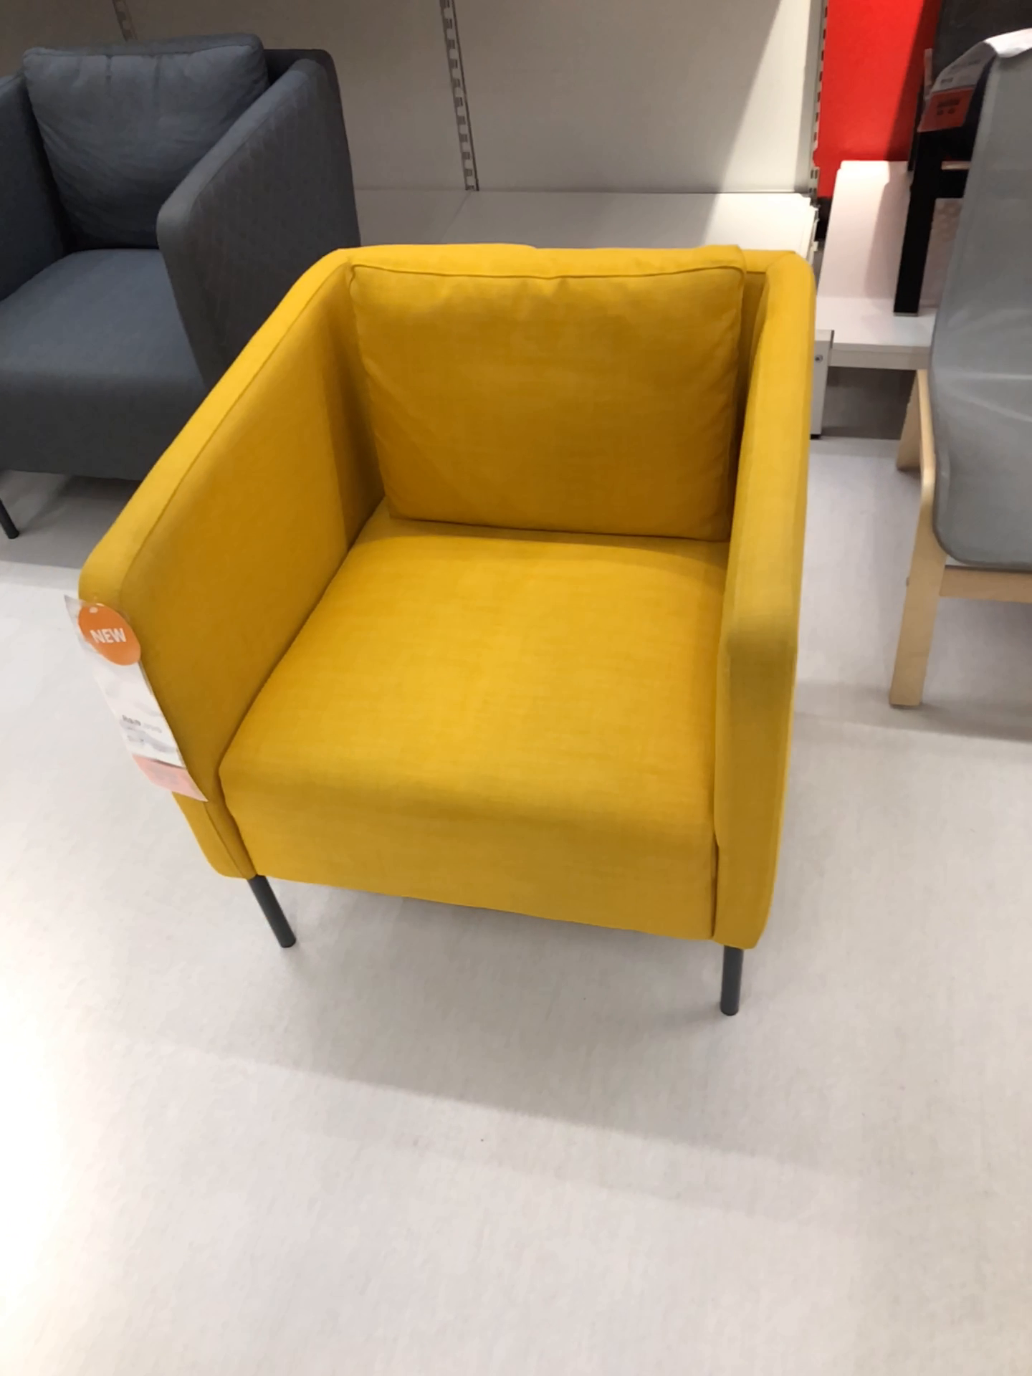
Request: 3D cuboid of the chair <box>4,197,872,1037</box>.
[{"bbox_3d":[0.010,-0.104,1.369,0.721,0.696,0.664,6,48,13],"label":"chair"}]
